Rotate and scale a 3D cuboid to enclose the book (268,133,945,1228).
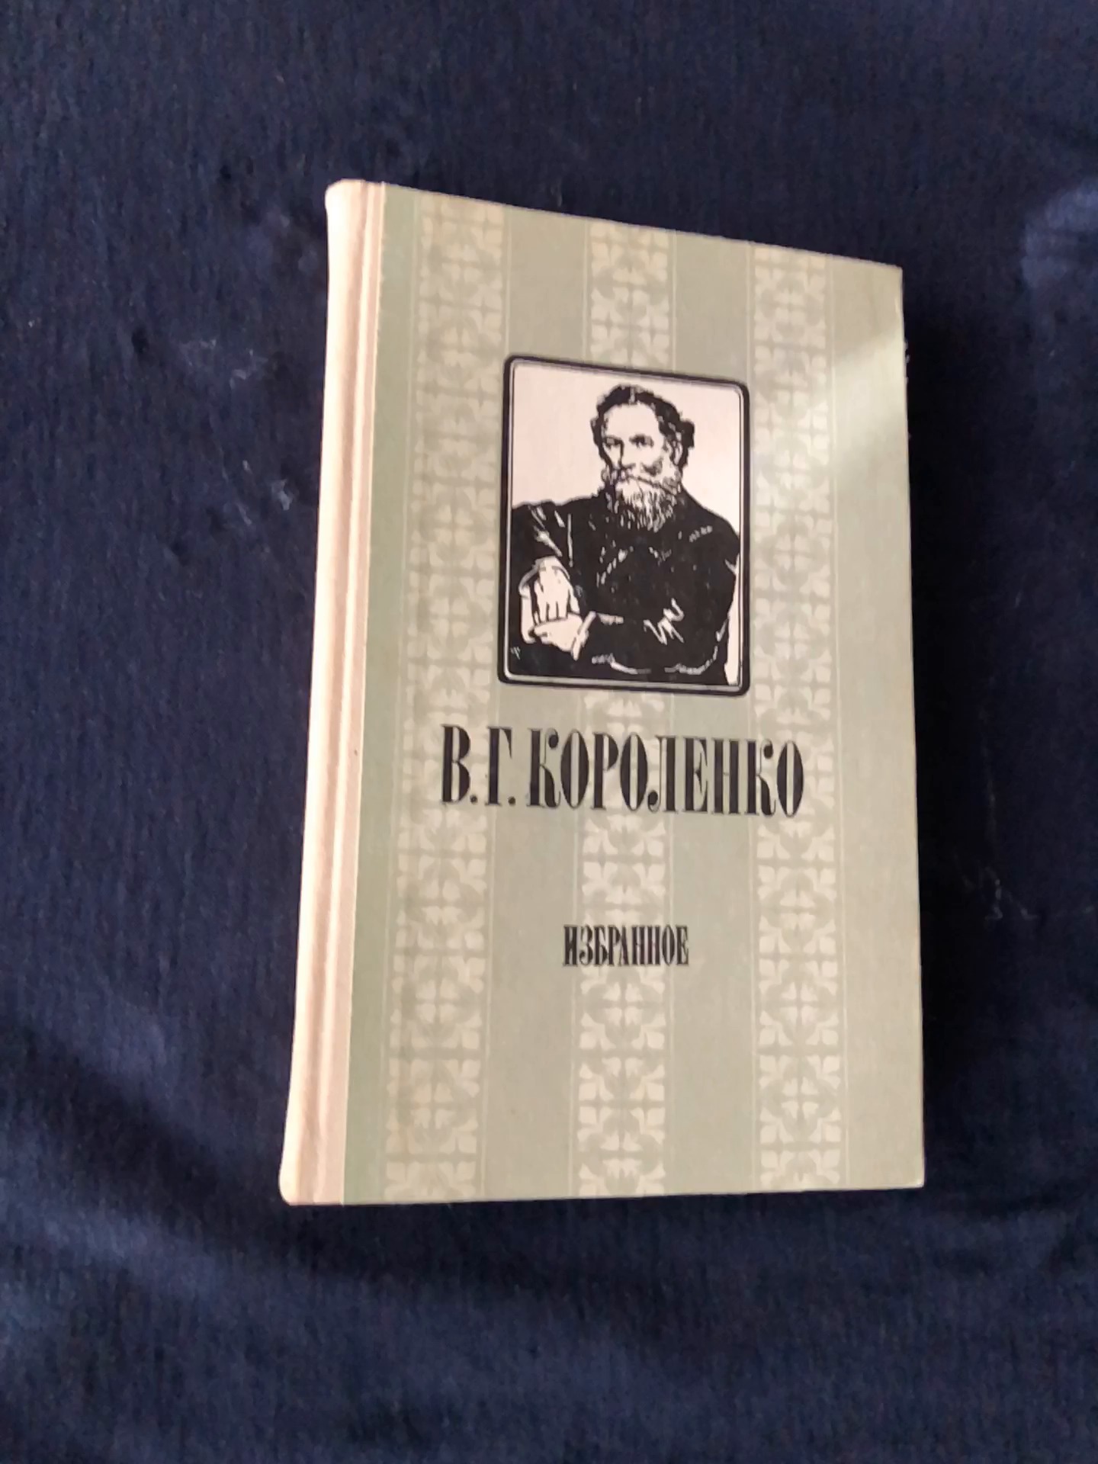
[{"bbox_3d":[0.014,-0.011,0.259,0.132,0.030,0.210,3,81,-14],"label":"book"}]
